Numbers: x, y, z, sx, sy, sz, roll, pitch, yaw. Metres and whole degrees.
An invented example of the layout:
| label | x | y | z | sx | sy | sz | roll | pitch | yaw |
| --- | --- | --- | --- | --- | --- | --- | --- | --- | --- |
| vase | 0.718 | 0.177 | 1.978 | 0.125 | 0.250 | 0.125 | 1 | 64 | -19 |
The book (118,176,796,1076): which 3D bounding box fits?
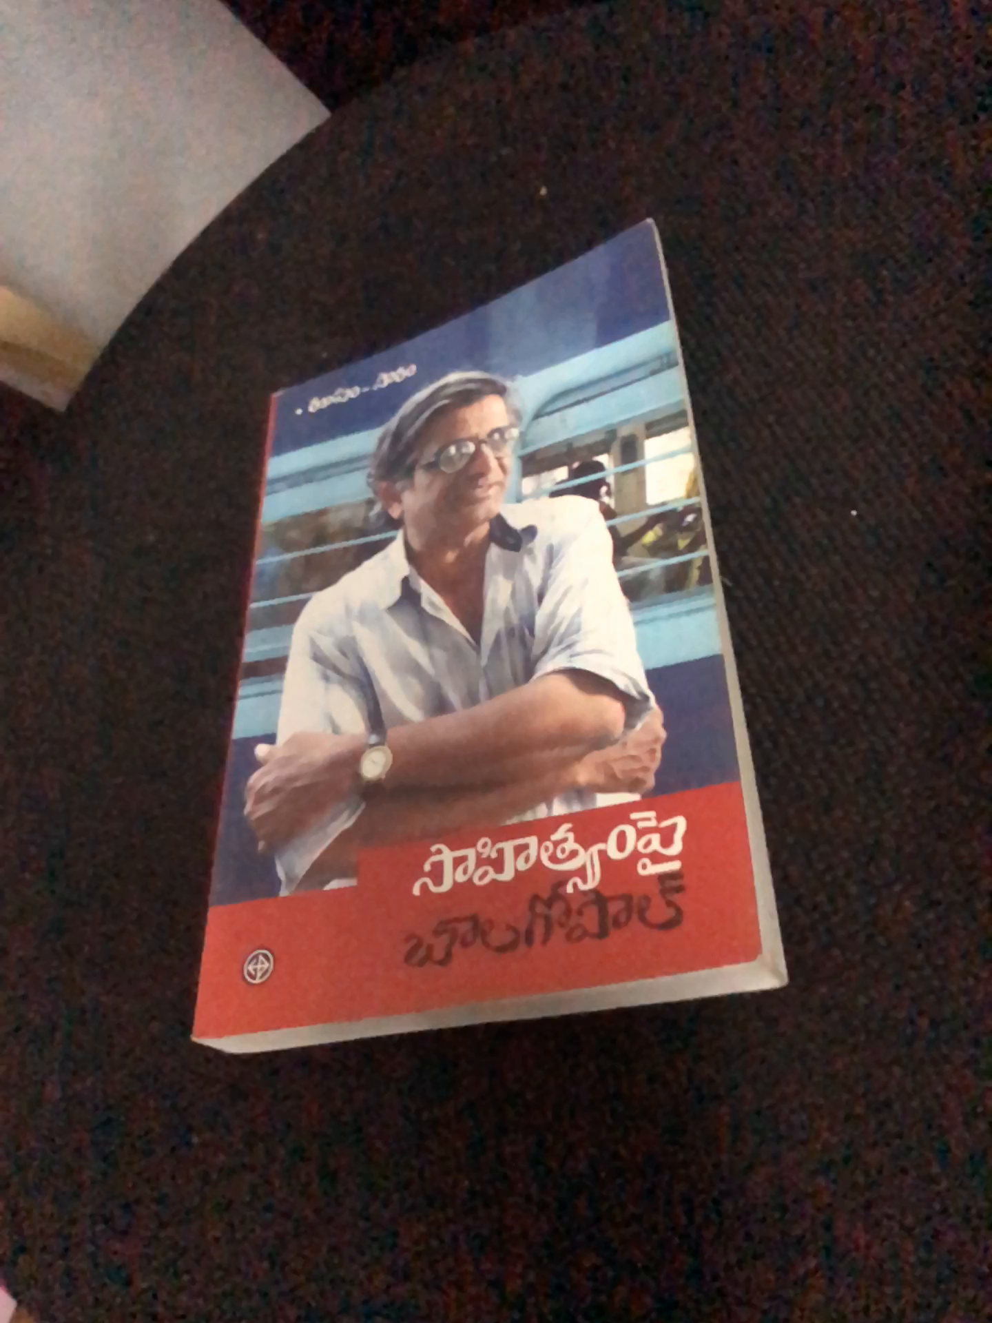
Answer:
| label | x | y | z | sx | sy | sz | roll | pitch | yaw |
| --- | --- | --- | --- | --- | --- | --- | --- | --- | --- |
| book | -0.016 | -0.016 | 0.297 | 0.152 | 0.030 | 0.225 | -14 | 58 | 22 |
